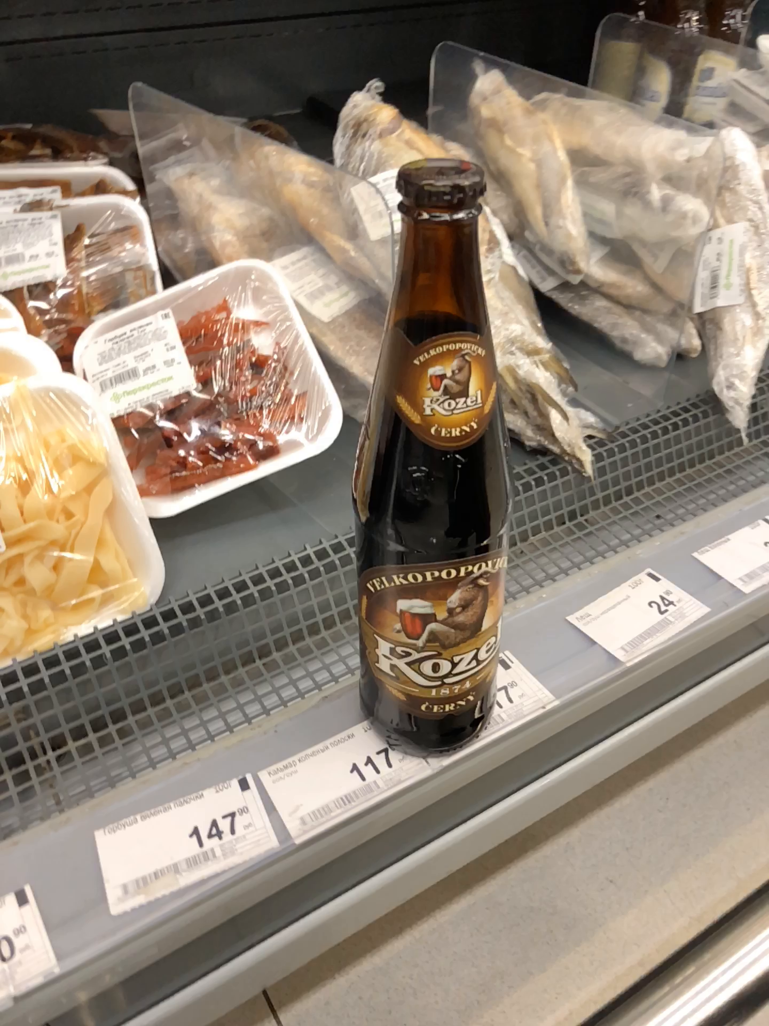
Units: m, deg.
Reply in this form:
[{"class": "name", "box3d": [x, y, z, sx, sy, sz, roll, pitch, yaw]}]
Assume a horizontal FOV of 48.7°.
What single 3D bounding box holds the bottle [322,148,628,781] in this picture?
[{"class": "bottle", "box3d": [0.022, -0.005, 0.321, 0.070, 0.231, 0.070, 1, 38, -1]}]
